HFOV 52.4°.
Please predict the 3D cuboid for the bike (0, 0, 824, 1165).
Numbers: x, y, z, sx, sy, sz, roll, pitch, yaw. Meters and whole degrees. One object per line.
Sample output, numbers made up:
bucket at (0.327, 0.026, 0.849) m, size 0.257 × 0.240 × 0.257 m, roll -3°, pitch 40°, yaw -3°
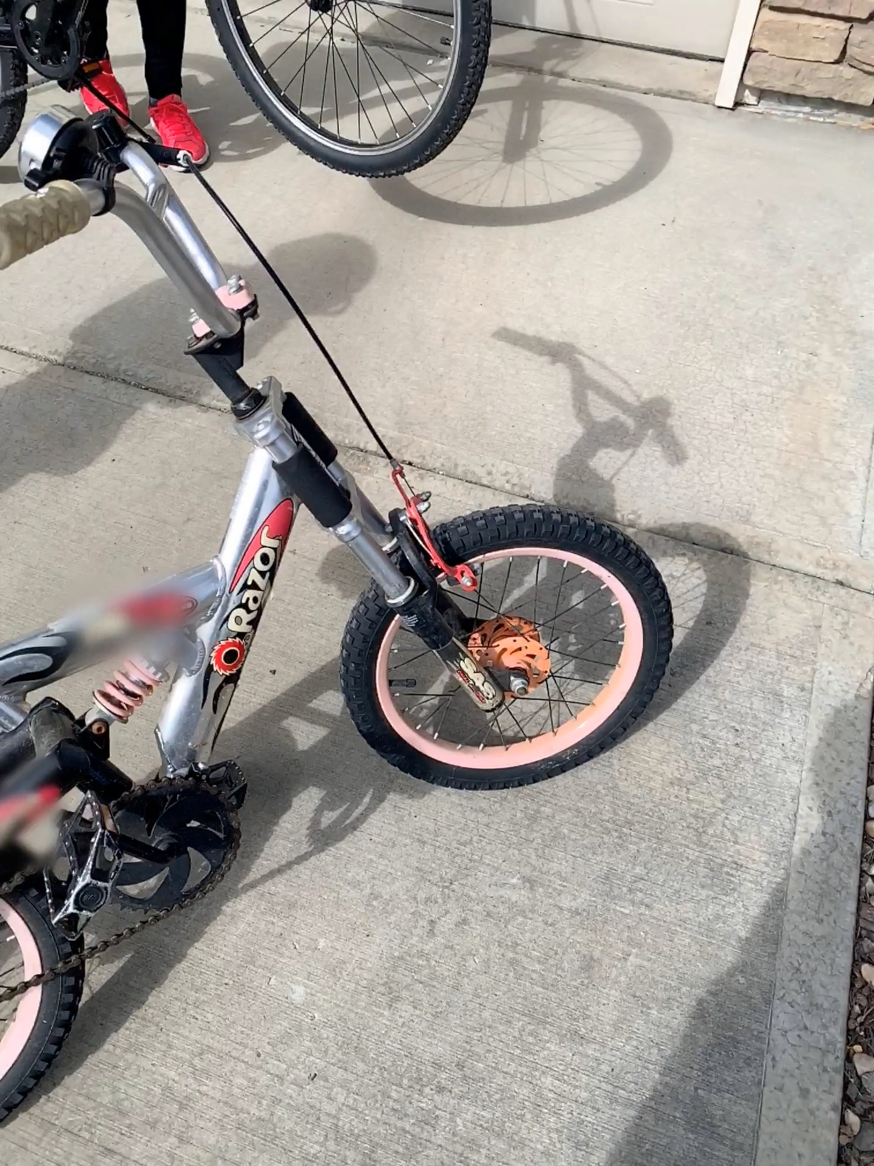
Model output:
bike at (-0.272, -0.008, 0.835) m, size 1.124 × 0.691 × 0.359 m, roll -28°, pitch 56°, yaw -24°
